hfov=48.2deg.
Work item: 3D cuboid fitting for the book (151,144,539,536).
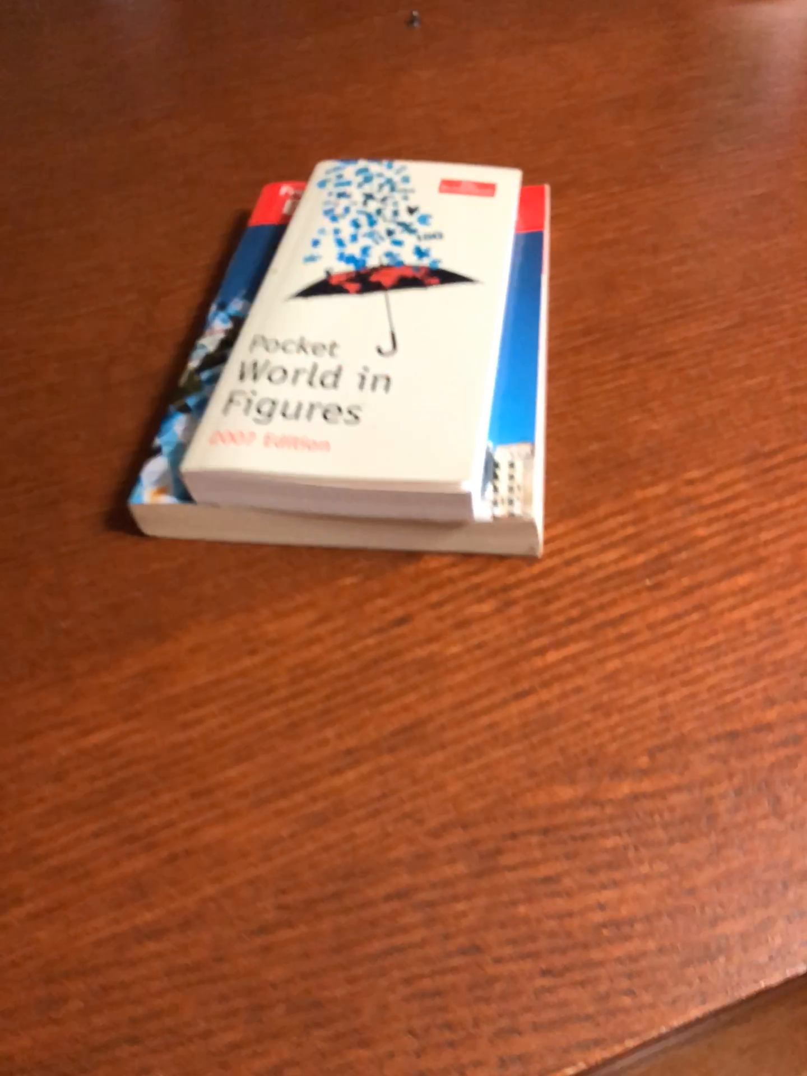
[{"bbox_3d":[-0.008,-0.087,0.331,0.100,0.020,0.201,5,49,8],"label":"book"}]

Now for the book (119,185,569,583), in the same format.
[{"bbox_3d":[-0.007,-0.076,0.354,0.140,0.020,0.211,4,49,7],"label":"book"}]
